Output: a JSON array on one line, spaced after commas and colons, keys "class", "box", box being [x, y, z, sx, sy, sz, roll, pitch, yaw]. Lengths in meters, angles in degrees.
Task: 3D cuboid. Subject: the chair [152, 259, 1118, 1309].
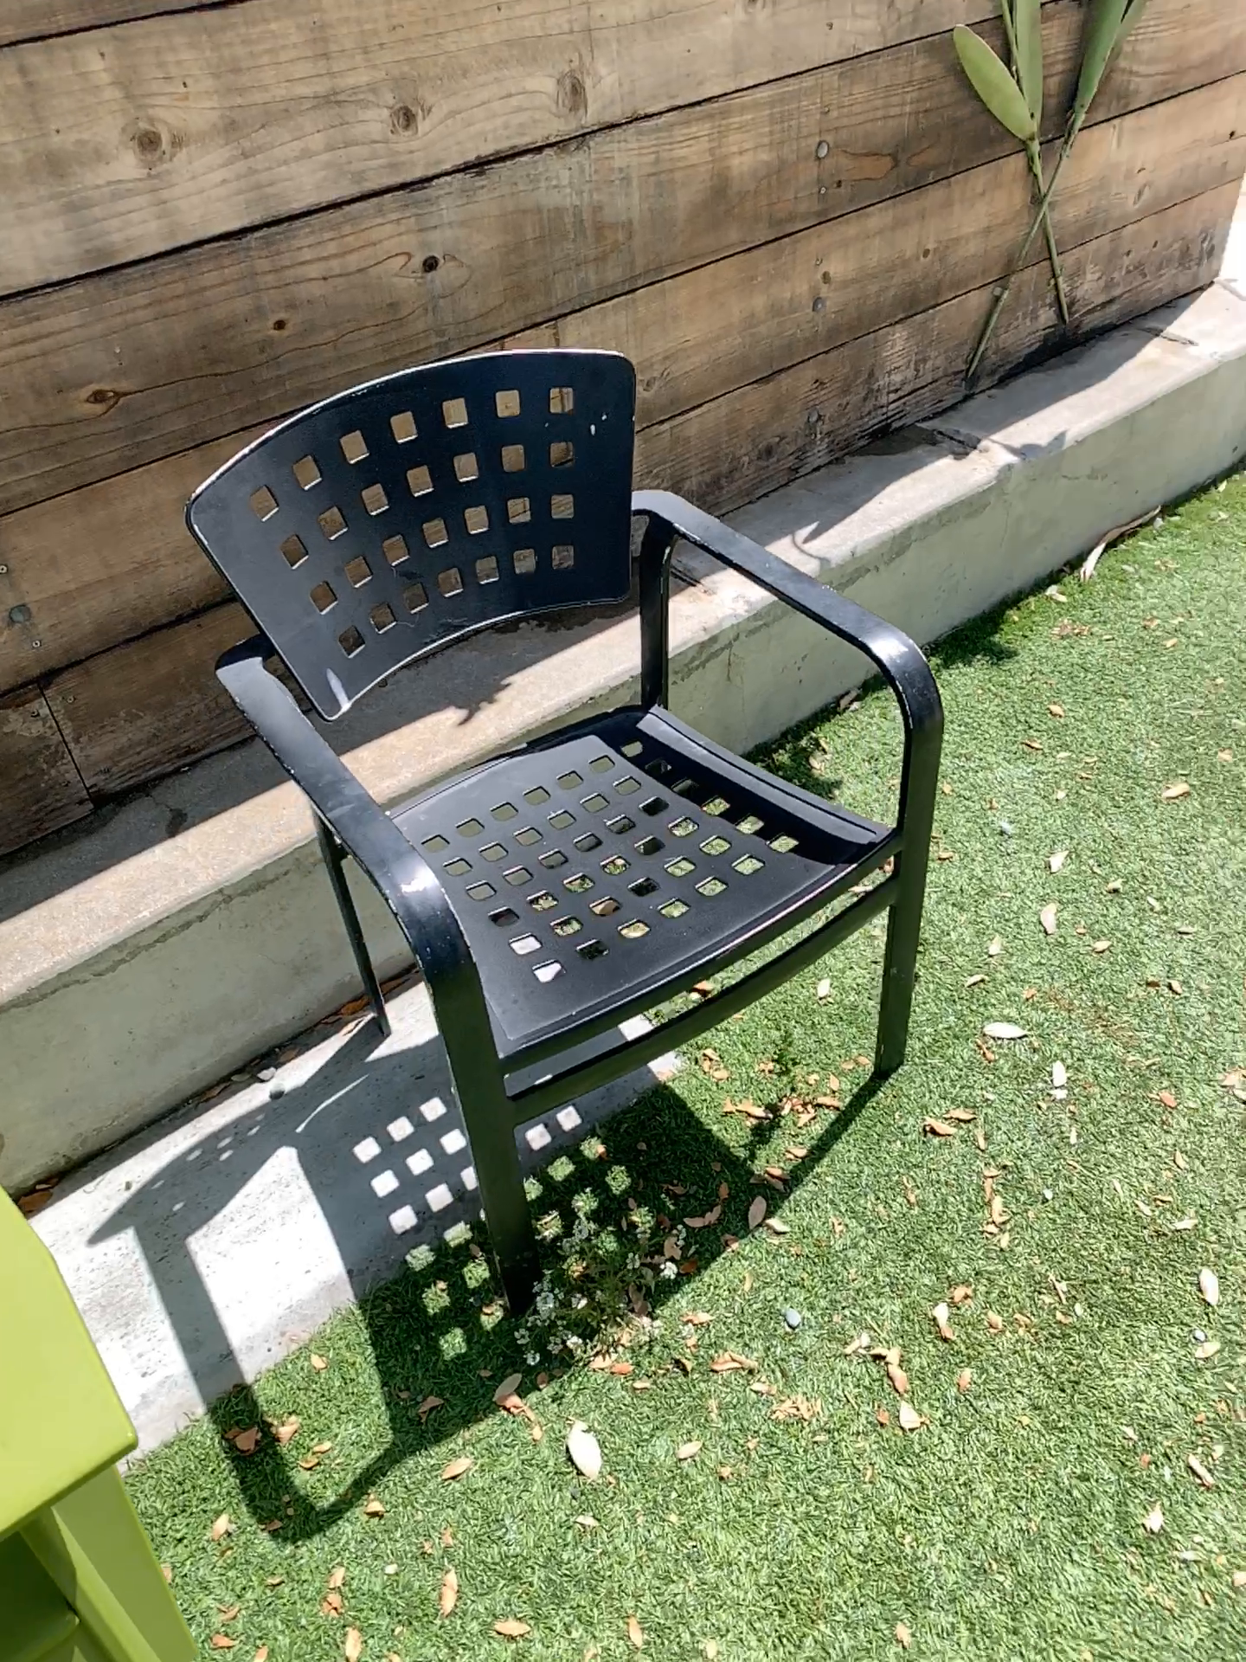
[{"class": "chair", "box": [0.009, -0.060, 1.277, 0.590, 0.716, 0.523, -27, 48, -23]}]
